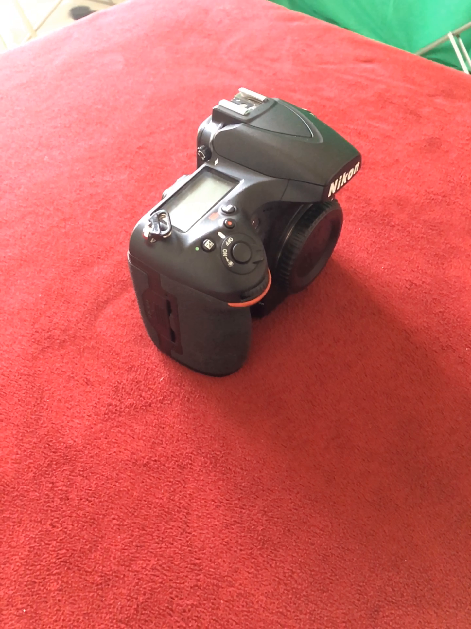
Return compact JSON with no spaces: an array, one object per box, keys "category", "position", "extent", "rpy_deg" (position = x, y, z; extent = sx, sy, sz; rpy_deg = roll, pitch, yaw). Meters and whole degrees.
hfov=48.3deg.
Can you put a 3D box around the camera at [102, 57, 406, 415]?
[{"category":"camera","position":[0.015,-0.047,0.308],"extent":[0.083,0.129,0.146],"rpy_deg":[29,56,21]}]
